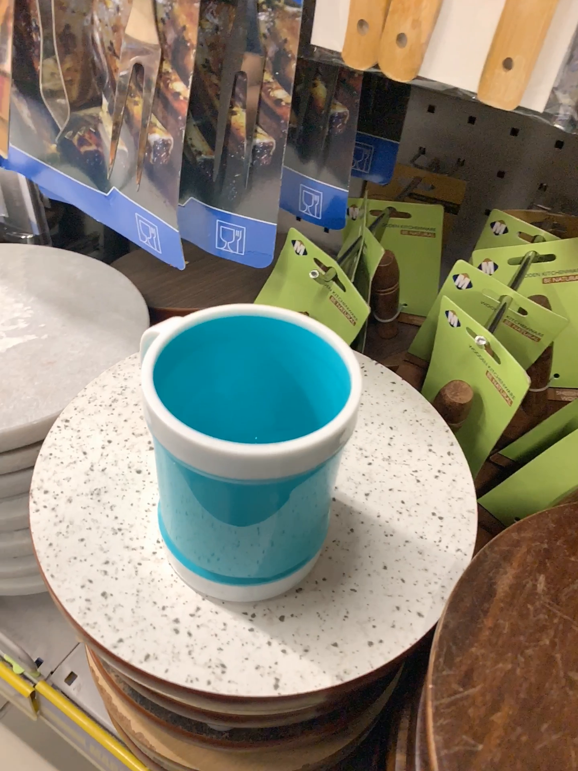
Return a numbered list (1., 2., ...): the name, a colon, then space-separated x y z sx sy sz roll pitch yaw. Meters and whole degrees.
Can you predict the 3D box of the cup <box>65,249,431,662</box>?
1. cup: -0.021 0.026 0.253 0.080 0.110 0.110 -31 54 -34
